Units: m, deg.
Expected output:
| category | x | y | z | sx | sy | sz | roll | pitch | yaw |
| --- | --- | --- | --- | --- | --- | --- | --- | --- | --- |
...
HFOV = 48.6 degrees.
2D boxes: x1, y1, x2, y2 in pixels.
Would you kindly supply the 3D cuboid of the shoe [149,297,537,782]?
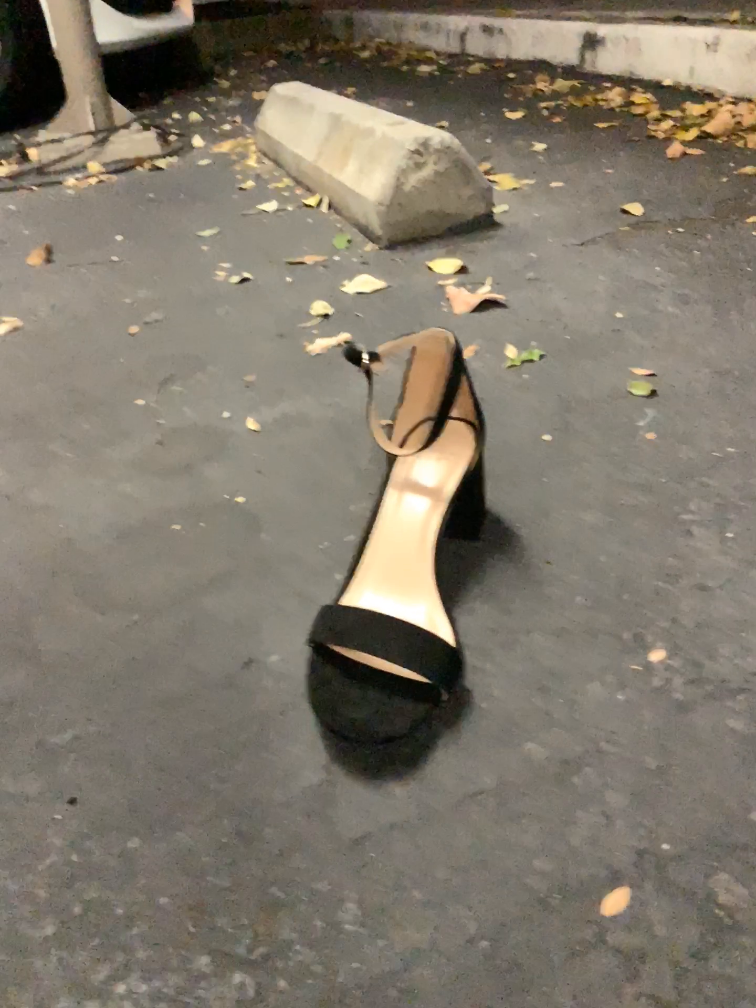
| category | x | y | z | sx | sy | sz | roll | pitch | yaw |
| --- | --- | --- | --- | --- | --- | --- | --- | --- | --- |
| shoe | 0.006 | -0.005 | 0.485 | 0.120 | 0.140 | 0.270 | 8 | 34 | 17 |
